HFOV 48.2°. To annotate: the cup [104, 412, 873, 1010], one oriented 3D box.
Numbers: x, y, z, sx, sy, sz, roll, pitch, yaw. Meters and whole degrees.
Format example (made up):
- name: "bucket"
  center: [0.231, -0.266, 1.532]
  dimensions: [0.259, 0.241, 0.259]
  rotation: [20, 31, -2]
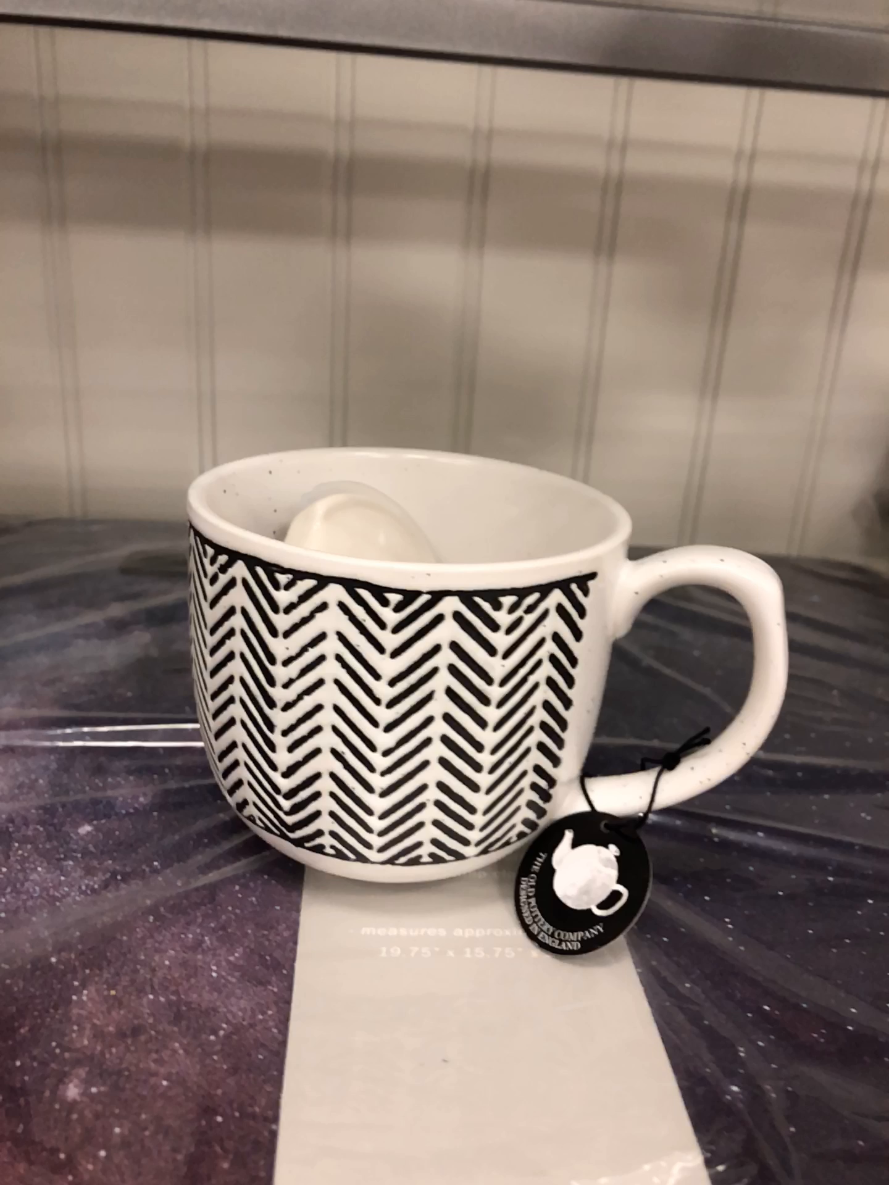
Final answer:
- name: "cup"
  center: [0.011, 0.014, 0.230]
  dimensions: [0.140, 0.079, 0.091]
  rotation: [10, 22, 14]
